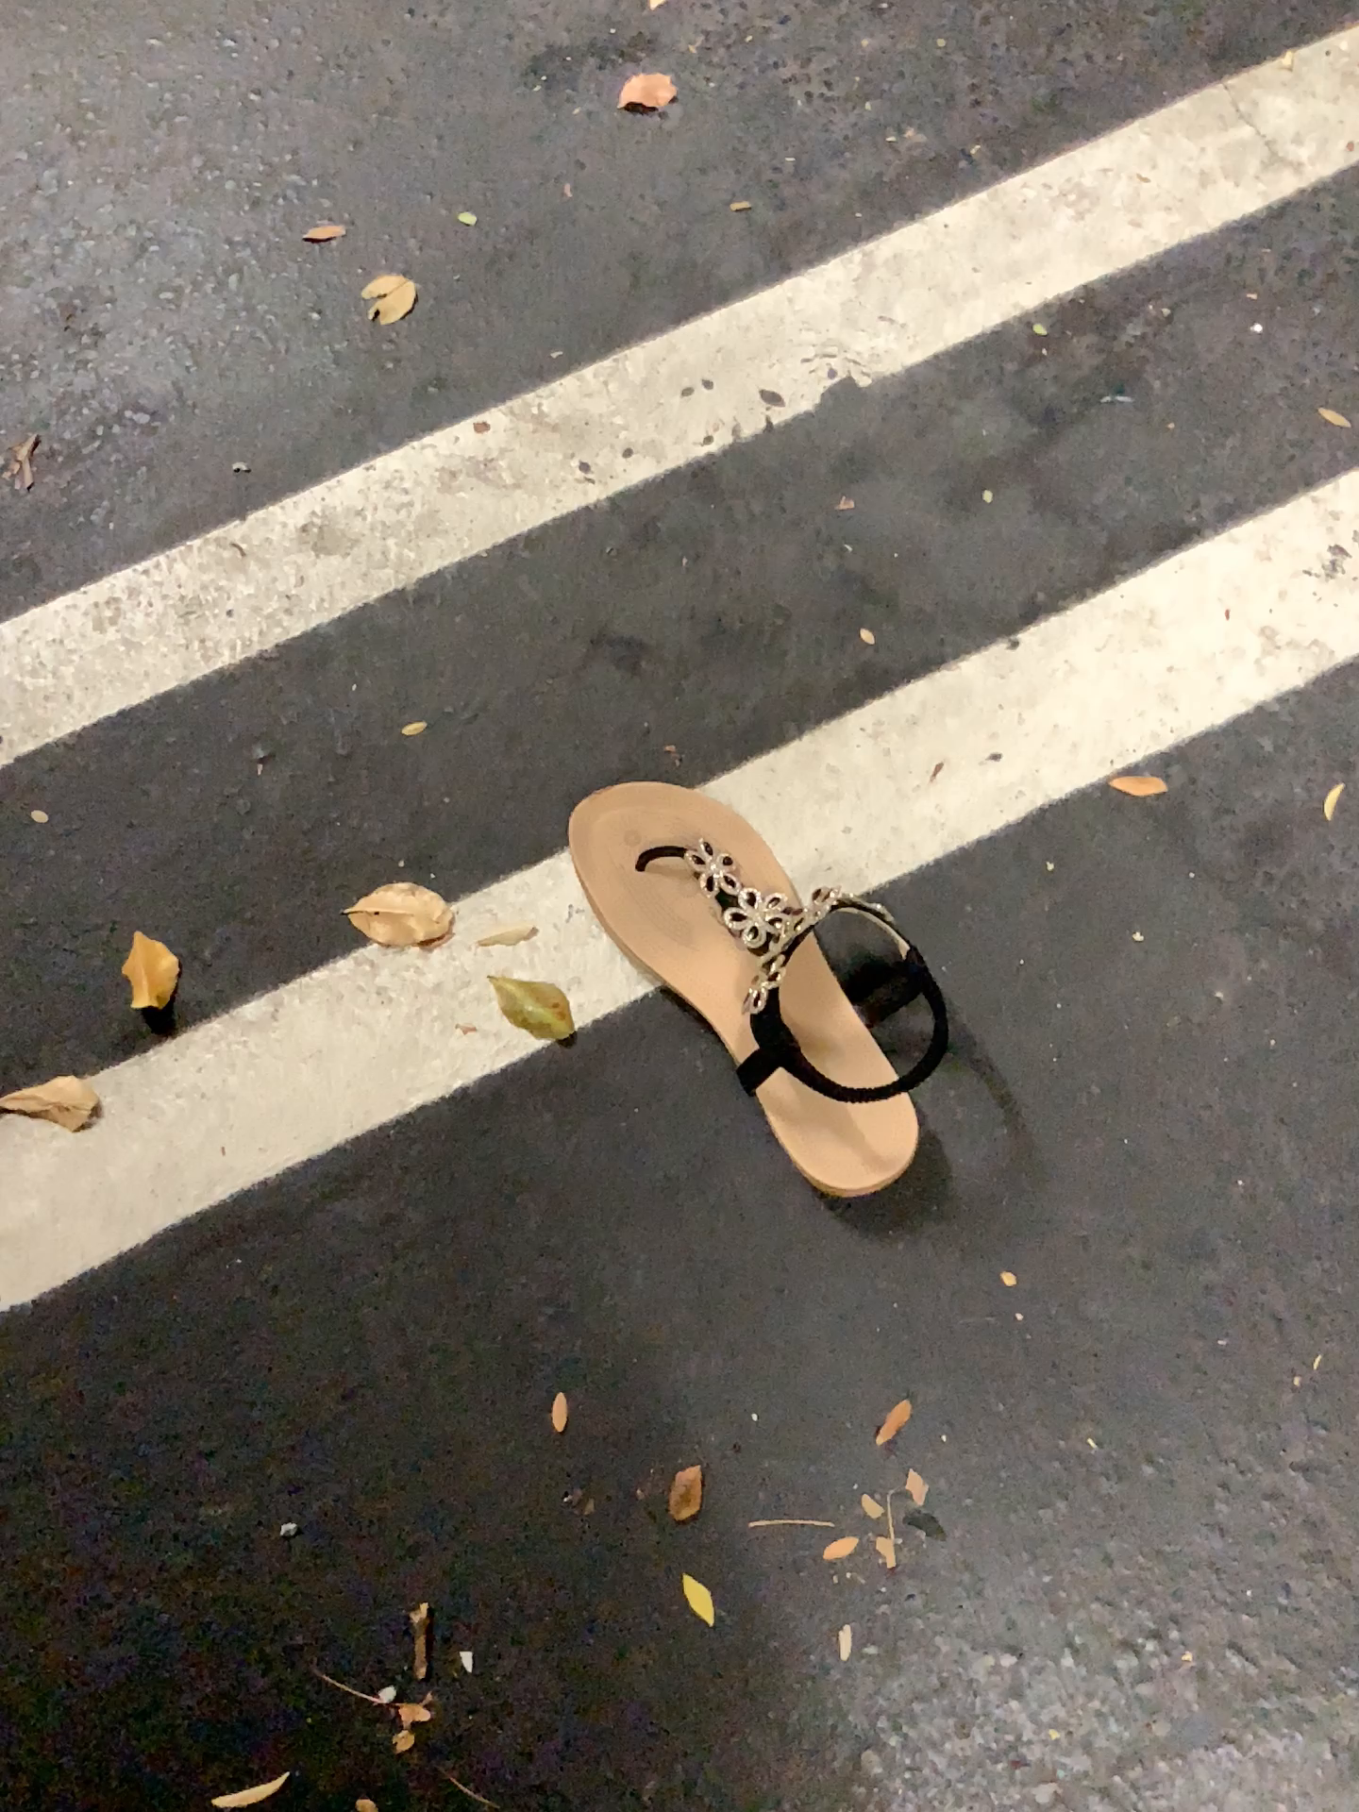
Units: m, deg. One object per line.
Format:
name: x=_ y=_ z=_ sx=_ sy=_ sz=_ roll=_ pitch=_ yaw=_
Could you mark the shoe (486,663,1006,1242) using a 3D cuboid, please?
shoe: x=0.028 y=0.019 z=0.743 sx=0.120 sy=0.060 sz=0.260 roll=-34 pitch=70 yaw=-6
